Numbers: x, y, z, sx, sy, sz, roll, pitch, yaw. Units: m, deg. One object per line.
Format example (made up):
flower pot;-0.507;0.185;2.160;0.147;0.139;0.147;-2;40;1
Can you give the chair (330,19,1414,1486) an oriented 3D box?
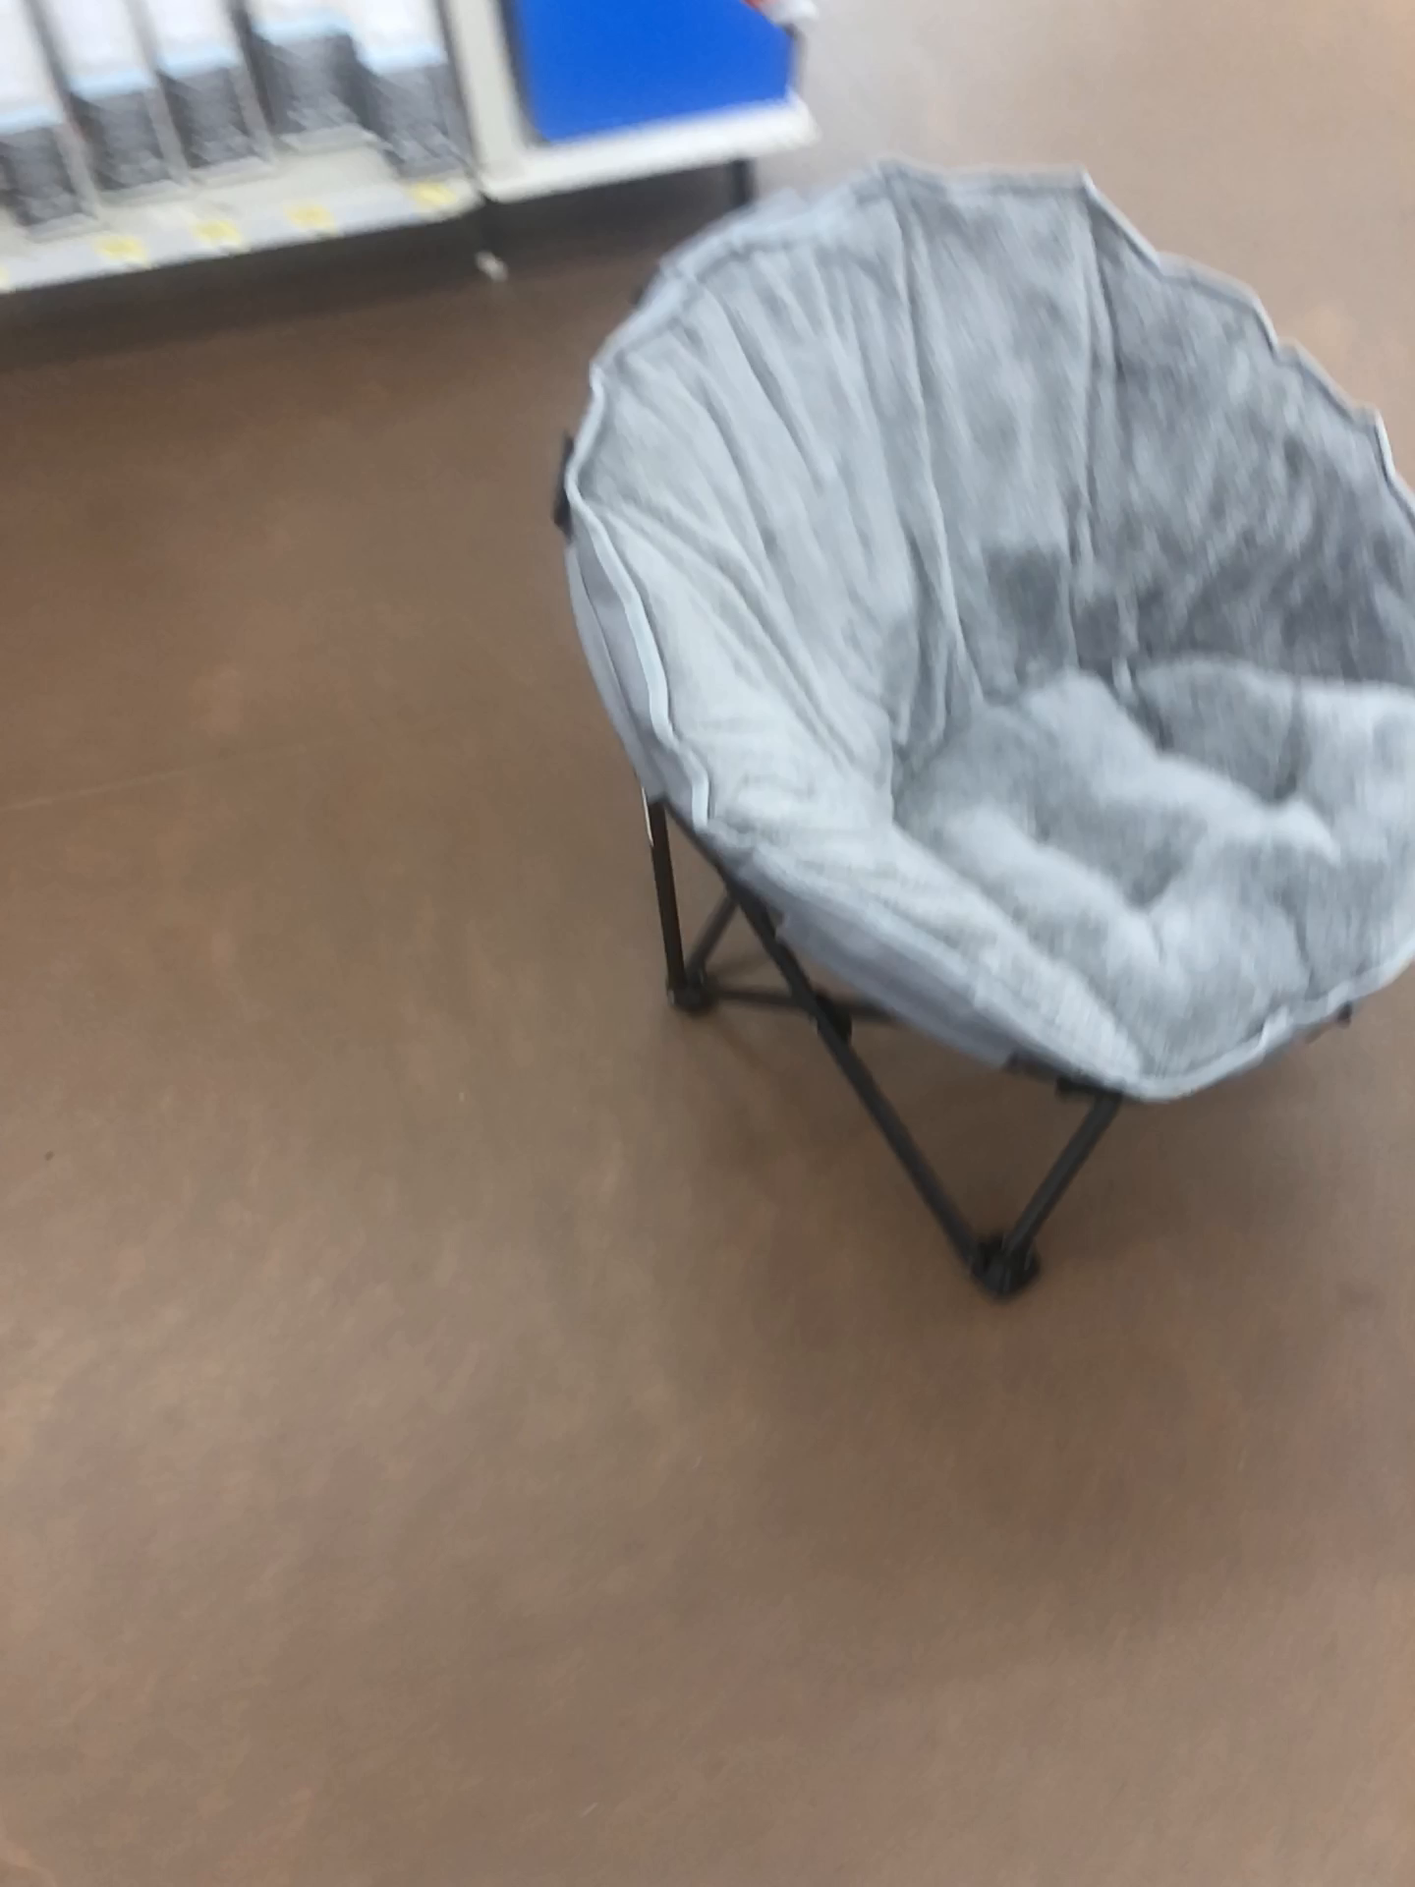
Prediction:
chair;0.233;-0.156;1.037;0.570;0.528;0.632;-40;58;-23
